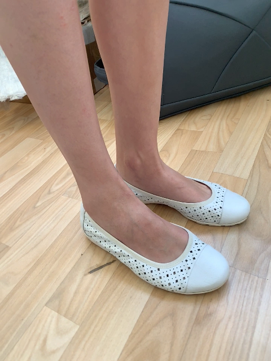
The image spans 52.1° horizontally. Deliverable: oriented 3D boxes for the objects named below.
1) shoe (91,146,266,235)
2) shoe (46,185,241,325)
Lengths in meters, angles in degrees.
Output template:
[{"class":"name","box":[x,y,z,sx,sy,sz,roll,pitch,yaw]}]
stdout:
[{"class":"shoe","box":[0.069,0.008,0.479,0.271,0.070,0.090,9,45,24]},{"class":"shoe","box":[0.005,0.095,0.424,0.271,0.070,0.100,15,48,29]}]
